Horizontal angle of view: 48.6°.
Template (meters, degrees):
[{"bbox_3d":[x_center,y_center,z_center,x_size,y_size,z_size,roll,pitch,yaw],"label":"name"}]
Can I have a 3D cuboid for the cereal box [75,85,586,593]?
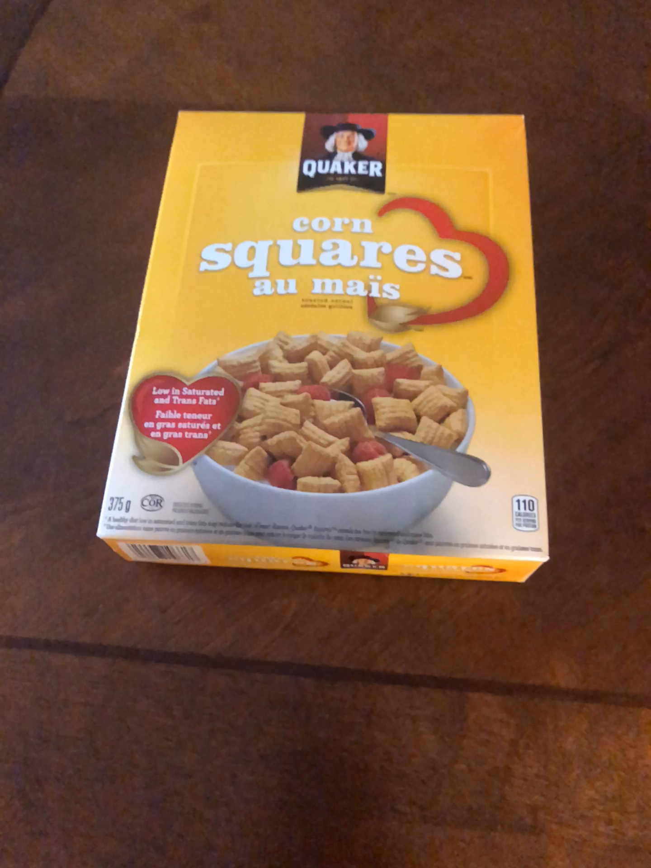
[{"bbox_3d":[0.009,-0.062,0.385,0.220,0.050,0.271,3,67,2],"label":"cereal box"}]
